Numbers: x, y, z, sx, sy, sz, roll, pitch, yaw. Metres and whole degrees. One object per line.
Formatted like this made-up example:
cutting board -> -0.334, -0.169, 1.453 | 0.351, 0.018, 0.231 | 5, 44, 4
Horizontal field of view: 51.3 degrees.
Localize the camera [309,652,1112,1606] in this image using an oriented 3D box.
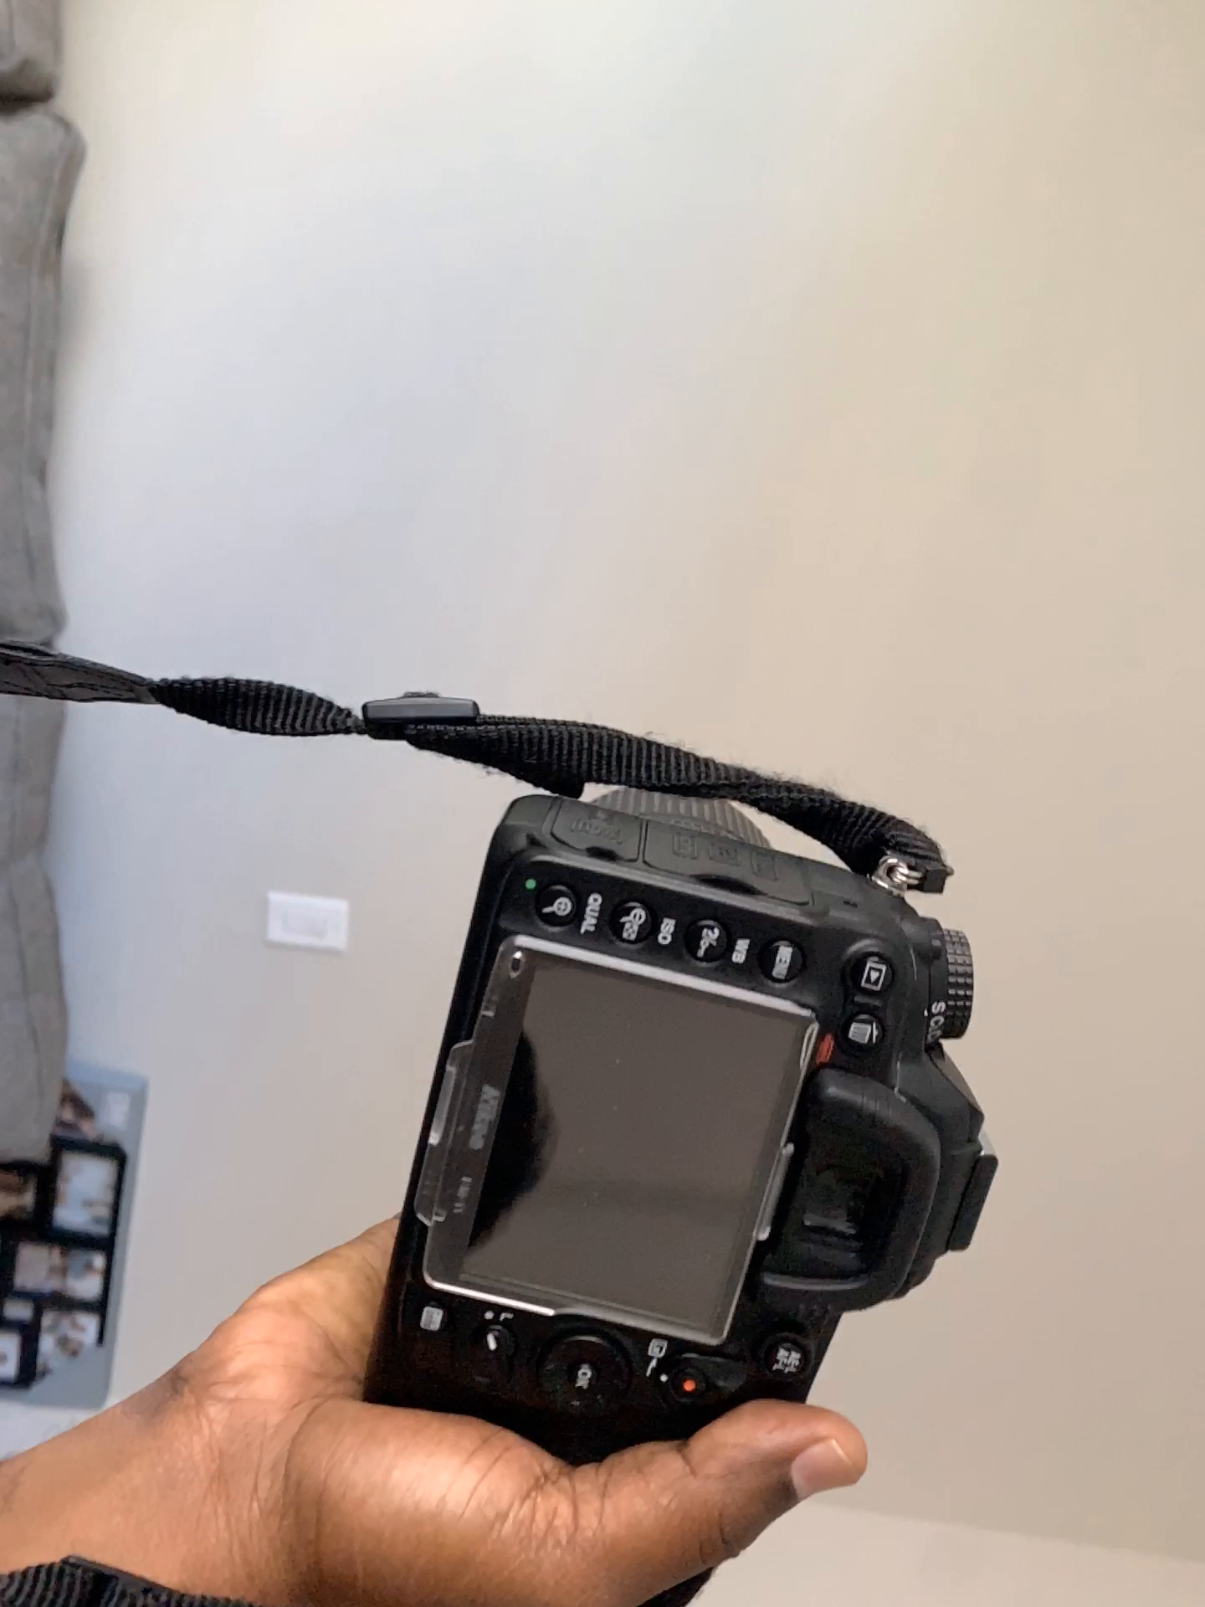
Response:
camera -> 0.018, 0.065, 0.320 | 0.170, 0.114, 0.160 | -84, -172, -75
